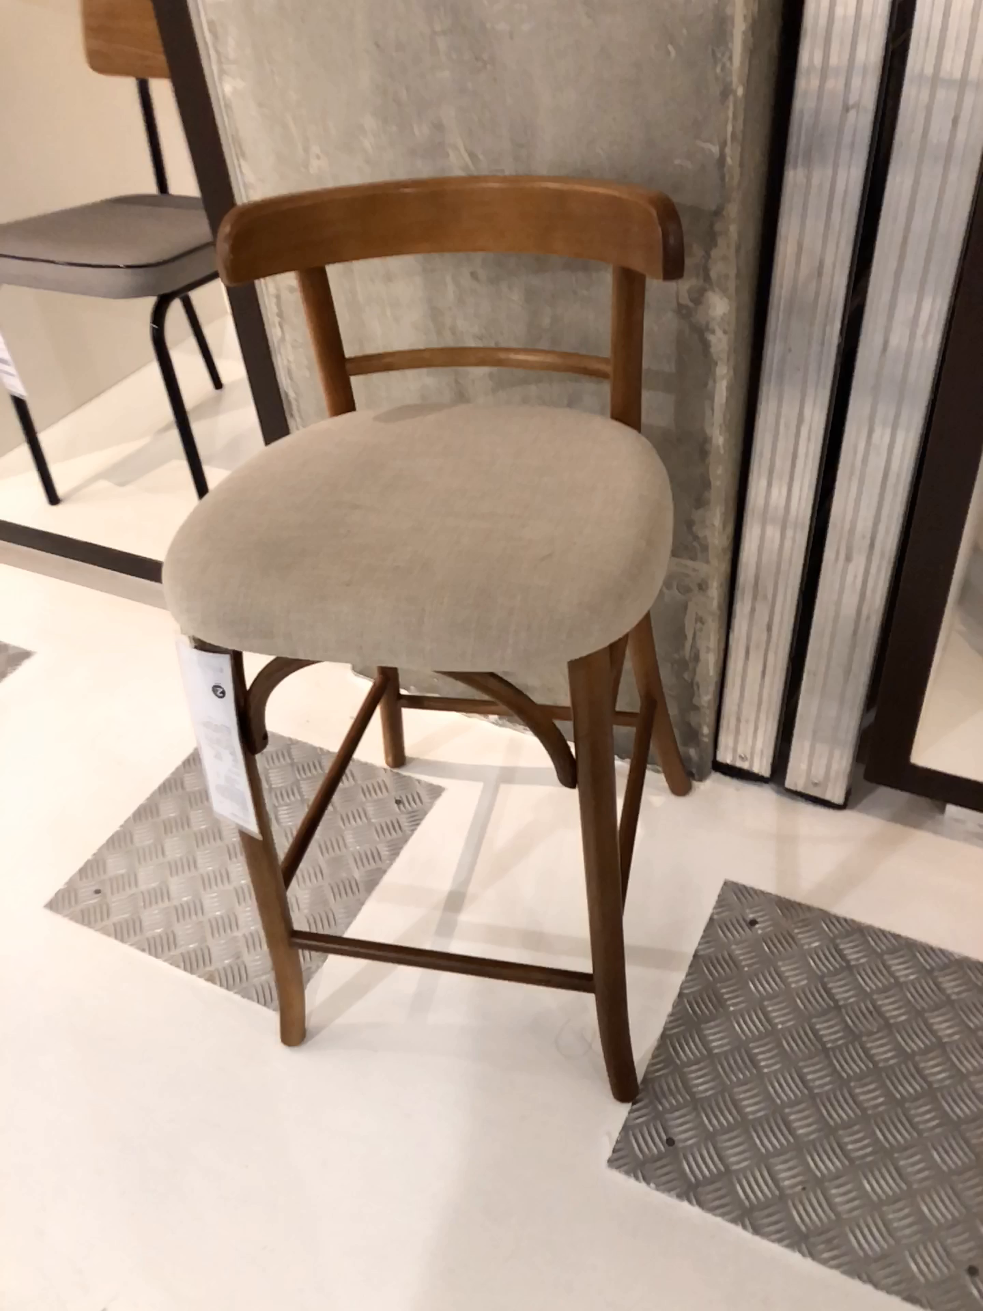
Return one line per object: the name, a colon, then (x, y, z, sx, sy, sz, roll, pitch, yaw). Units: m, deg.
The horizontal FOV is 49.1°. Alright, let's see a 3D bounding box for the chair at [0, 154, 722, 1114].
chair: (-0.044, -0.006, 1.084, 0.480, 0.794, 0.484, 4, 41, 12)
